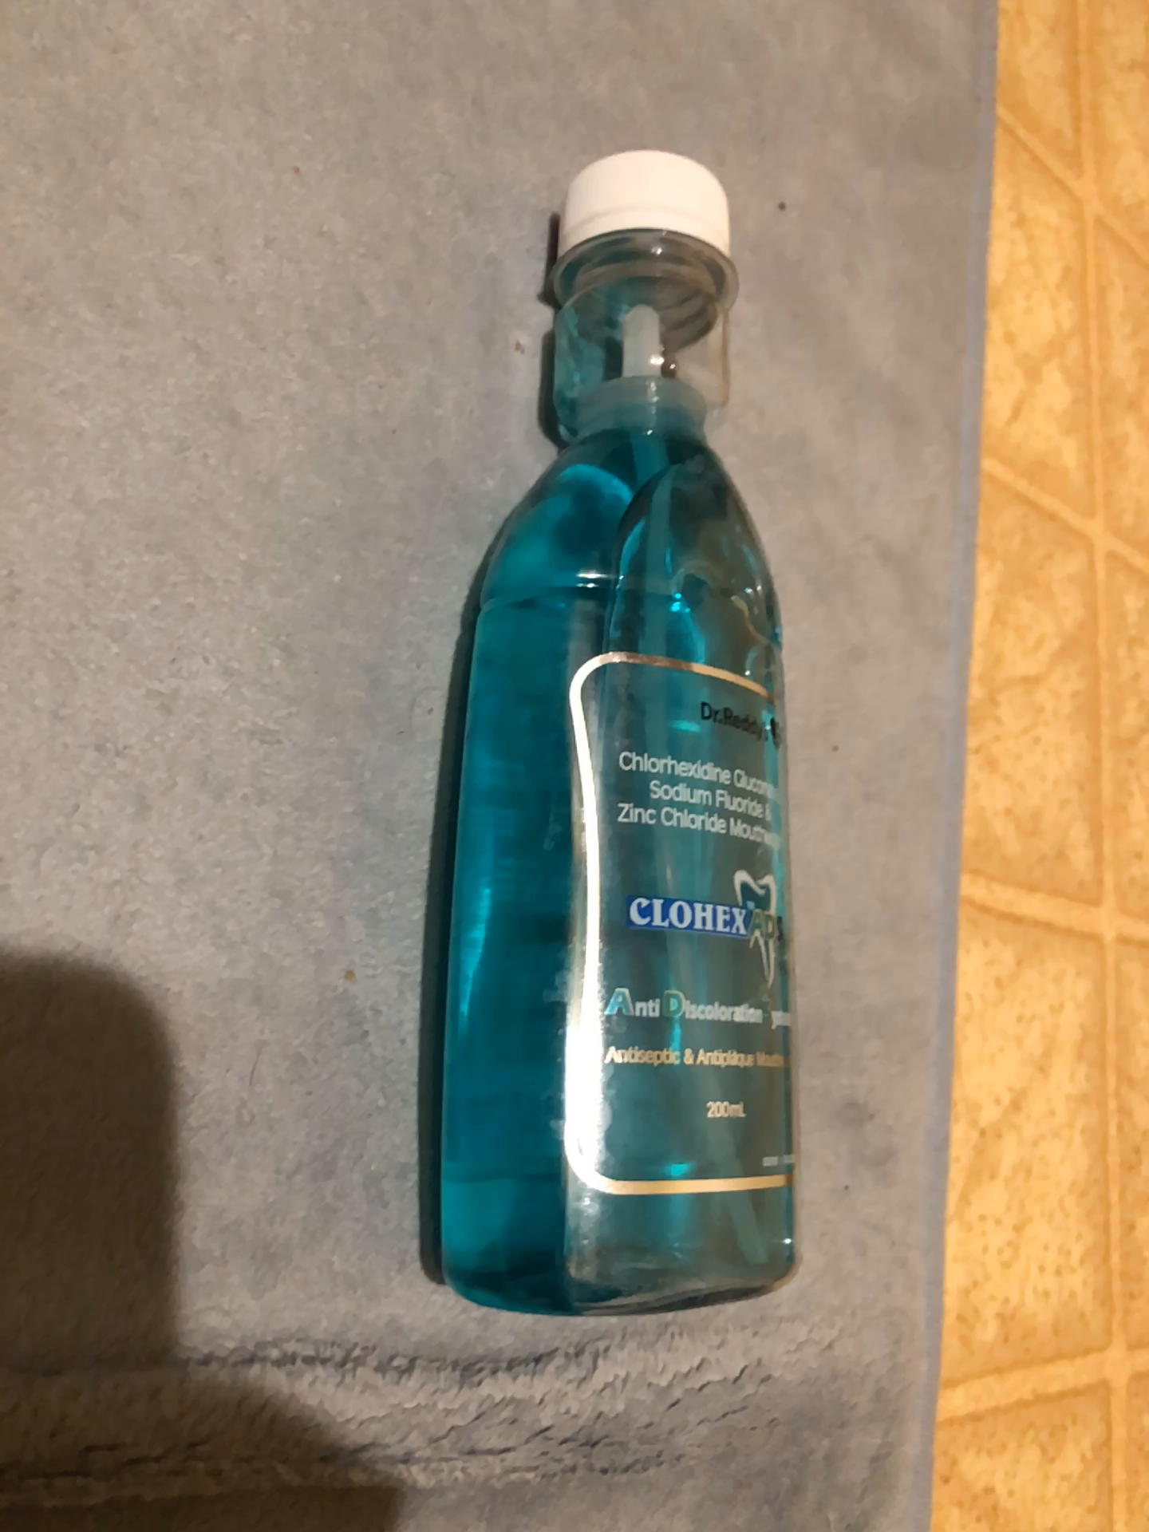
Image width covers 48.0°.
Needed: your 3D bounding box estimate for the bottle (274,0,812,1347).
[{"bbox_3d":[0.000,-0.026,0.211,0.070,0.040,0.210,11,75,-40],"label":"bottle"}]
